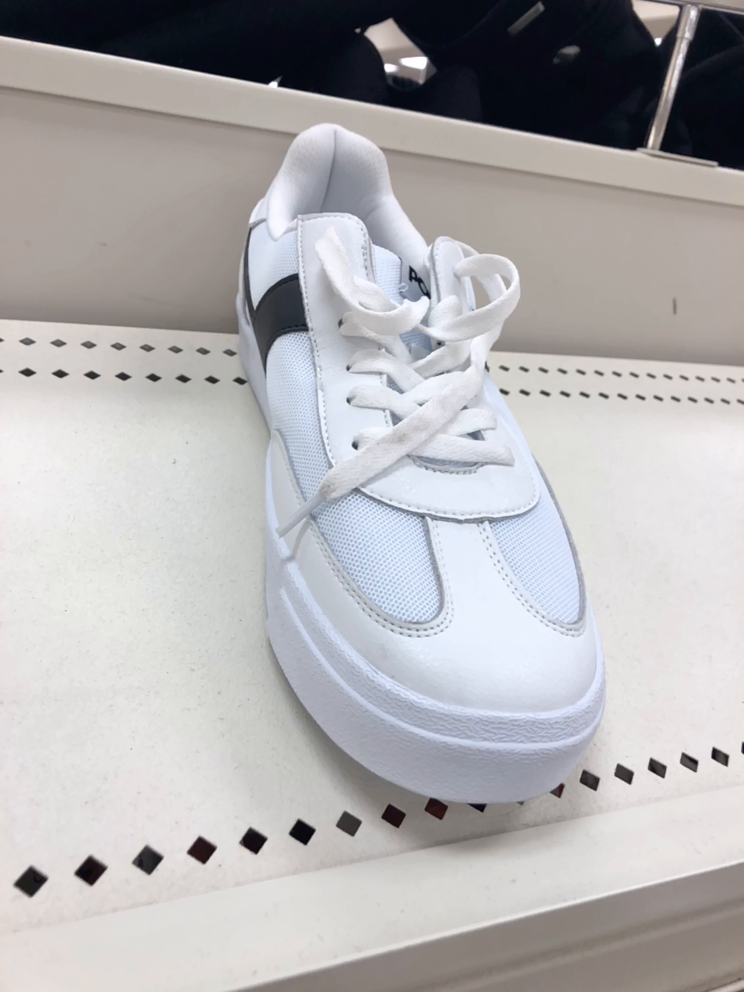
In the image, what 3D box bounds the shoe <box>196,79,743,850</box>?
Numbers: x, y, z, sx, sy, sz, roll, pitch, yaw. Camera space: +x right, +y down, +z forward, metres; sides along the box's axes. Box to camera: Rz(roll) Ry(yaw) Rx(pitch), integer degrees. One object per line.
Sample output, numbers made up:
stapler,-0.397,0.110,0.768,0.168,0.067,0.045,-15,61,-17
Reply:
shoe,0.006,-0.068,0.327,0.113,0.129,0.373,2,29,-18
